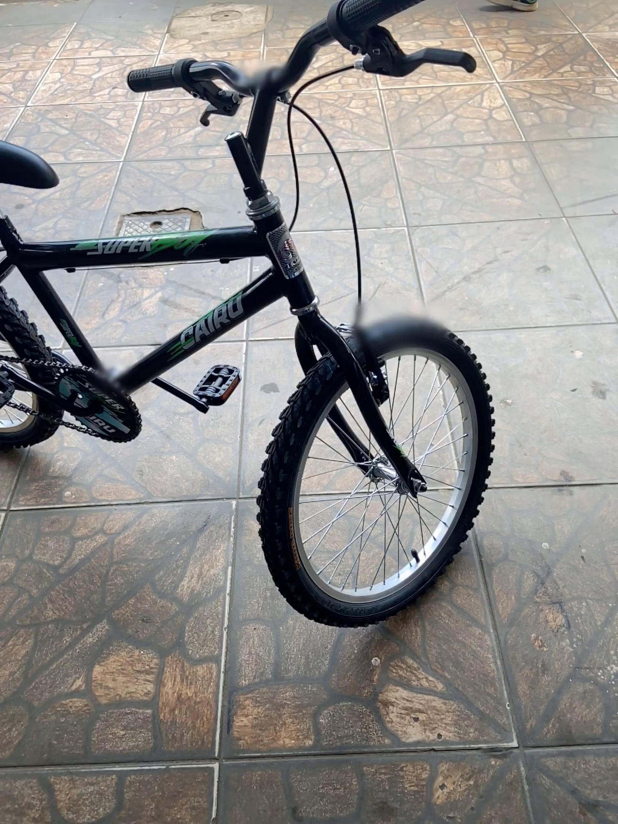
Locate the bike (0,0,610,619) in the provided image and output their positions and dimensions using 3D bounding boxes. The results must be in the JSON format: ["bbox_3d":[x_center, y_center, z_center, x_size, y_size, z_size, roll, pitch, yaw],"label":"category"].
[{"bbox_3d":[-0.318,-0.234,1.052,1.269,0.935,0.601,10,54,9],"label":"bike"}]
